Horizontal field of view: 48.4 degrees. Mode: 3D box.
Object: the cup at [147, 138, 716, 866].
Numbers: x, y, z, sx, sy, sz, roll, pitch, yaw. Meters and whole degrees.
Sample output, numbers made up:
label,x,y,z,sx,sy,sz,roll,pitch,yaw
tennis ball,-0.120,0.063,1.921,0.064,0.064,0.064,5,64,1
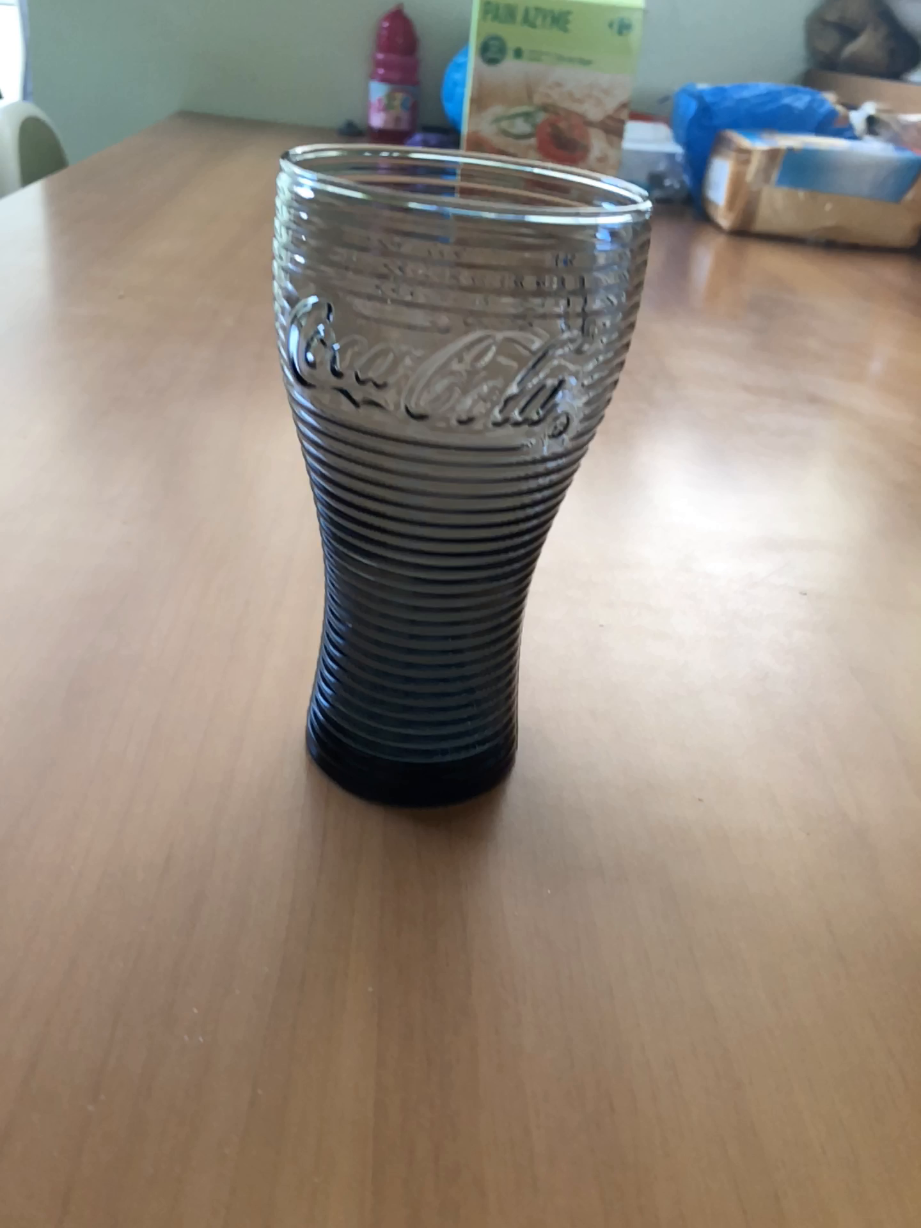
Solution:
label,x,y,z,sx,sy,sz,roll,pitch,yaw
cup,-0.010,-0.031,0.233,0.080,0.129,0.081,5,30,-3
